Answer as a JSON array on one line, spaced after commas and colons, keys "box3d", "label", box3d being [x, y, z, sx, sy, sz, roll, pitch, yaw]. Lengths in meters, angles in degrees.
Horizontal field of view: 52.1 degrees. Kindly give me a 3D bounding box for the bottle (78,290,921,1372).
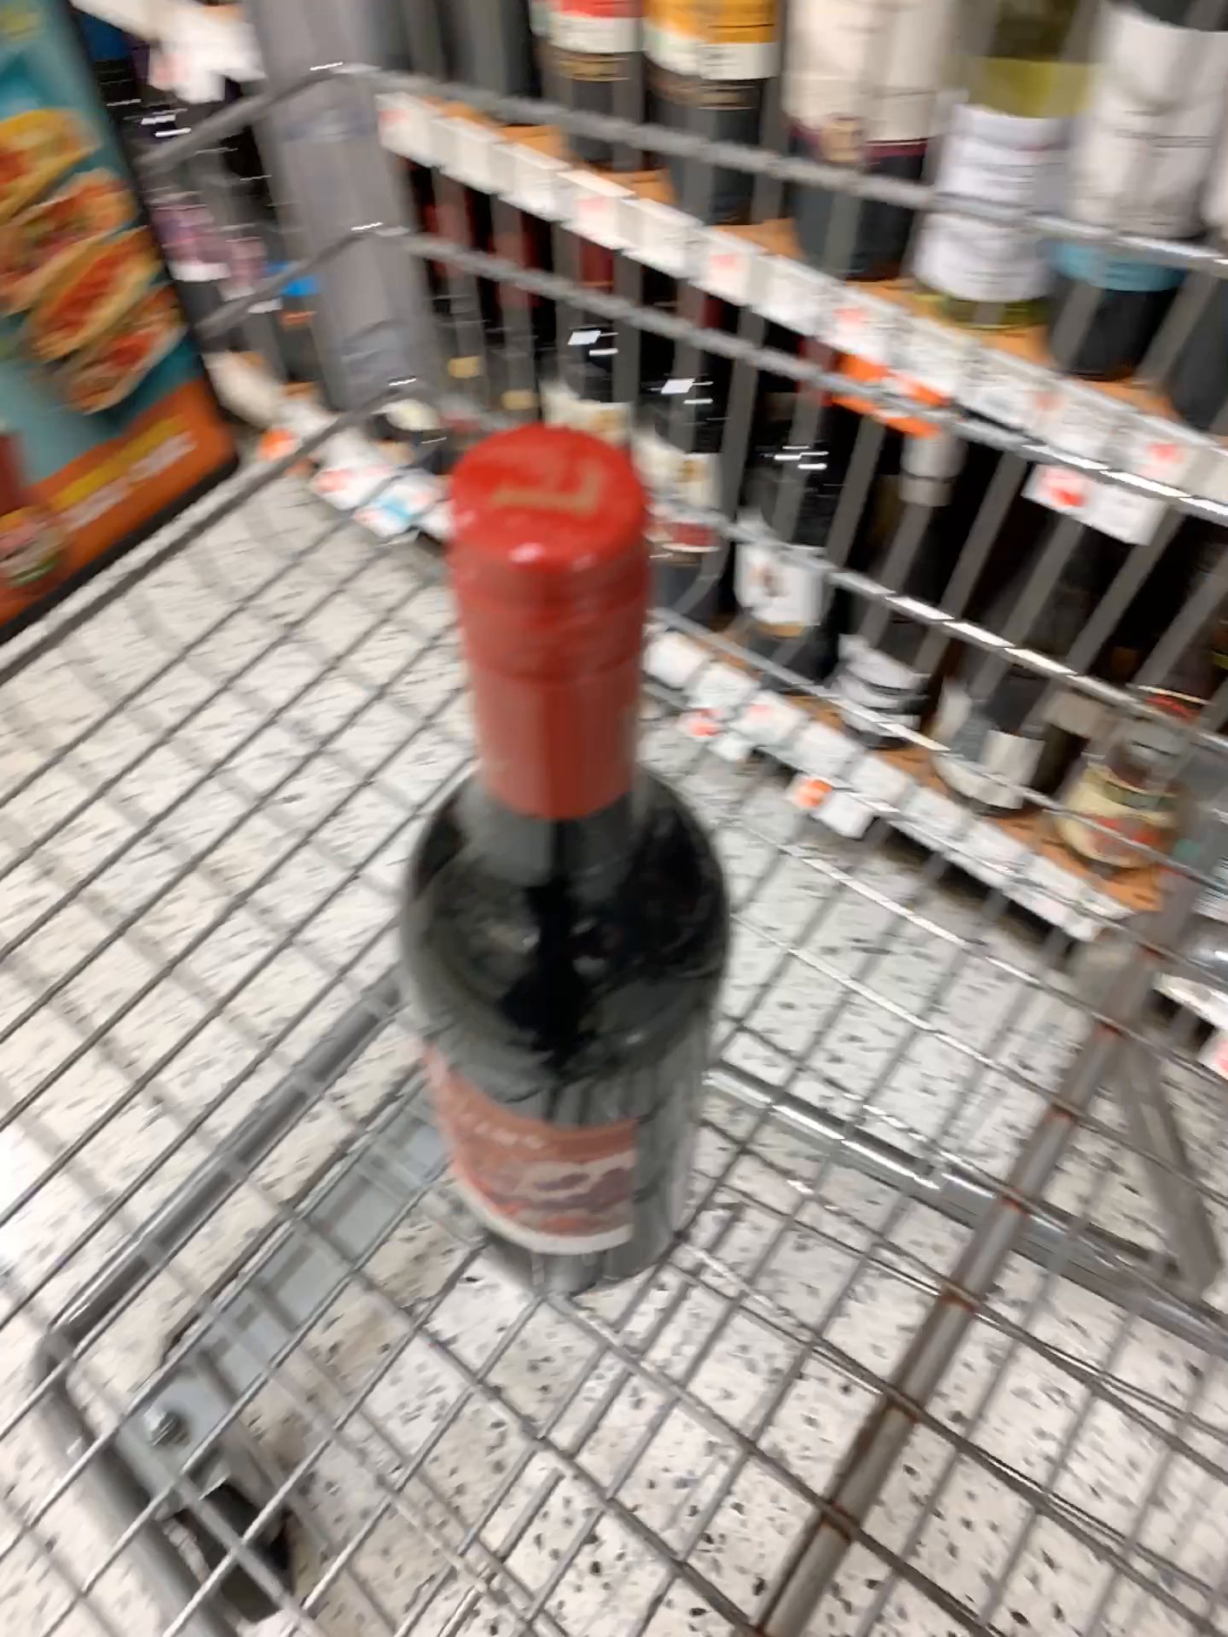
[{"box3d": [-0.015, 0.040, 0.299, 0.090, 0.288, 0.080, 37, 64, 22], "label": "bottle"}]
